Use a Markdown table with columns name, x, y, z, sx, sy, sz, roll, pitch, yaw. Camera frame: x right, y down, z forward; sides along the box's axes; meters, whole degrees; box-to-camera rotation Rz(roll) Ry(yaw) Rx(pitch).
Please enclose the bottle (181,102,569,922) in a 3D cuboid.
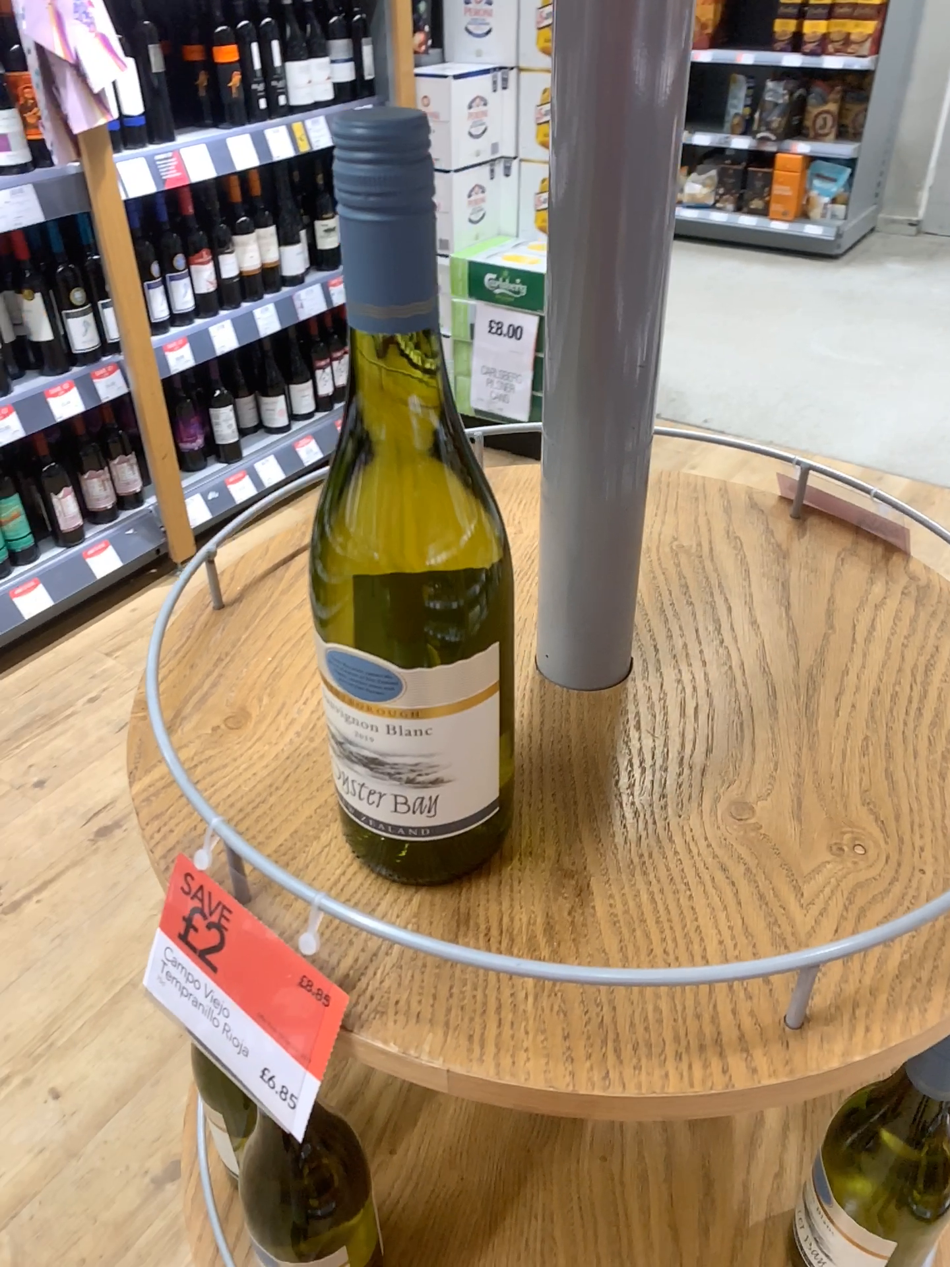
| name | x | y | z | sx | sy | sz | roll | pitch | yaw |
| --- | --- | --- | --- | --- | --- | --- | --- | --- | --- |
| bottle | -0.024 | -0.030 | 0.360 | 0.080 | 0.284 | 0.081 | -1 | 35 | 1 |
